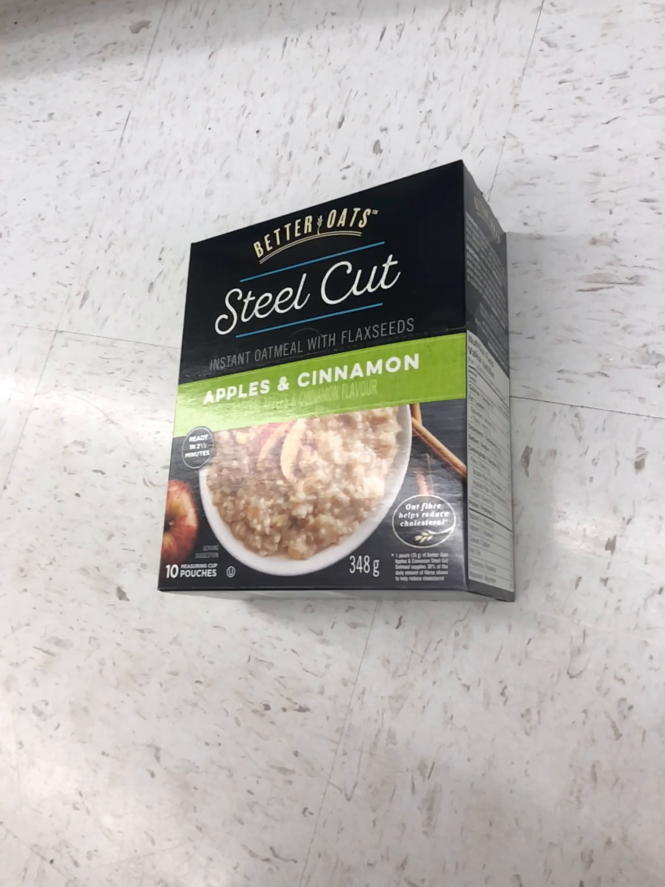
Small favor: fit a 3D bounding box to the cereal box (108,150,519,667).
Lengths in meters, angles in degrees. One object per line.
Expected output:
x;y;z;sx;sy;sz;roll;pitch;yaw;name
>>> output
-0.007;-0.005;0.339;0.161;0.070;0.200;-7;71;29;cereal box
